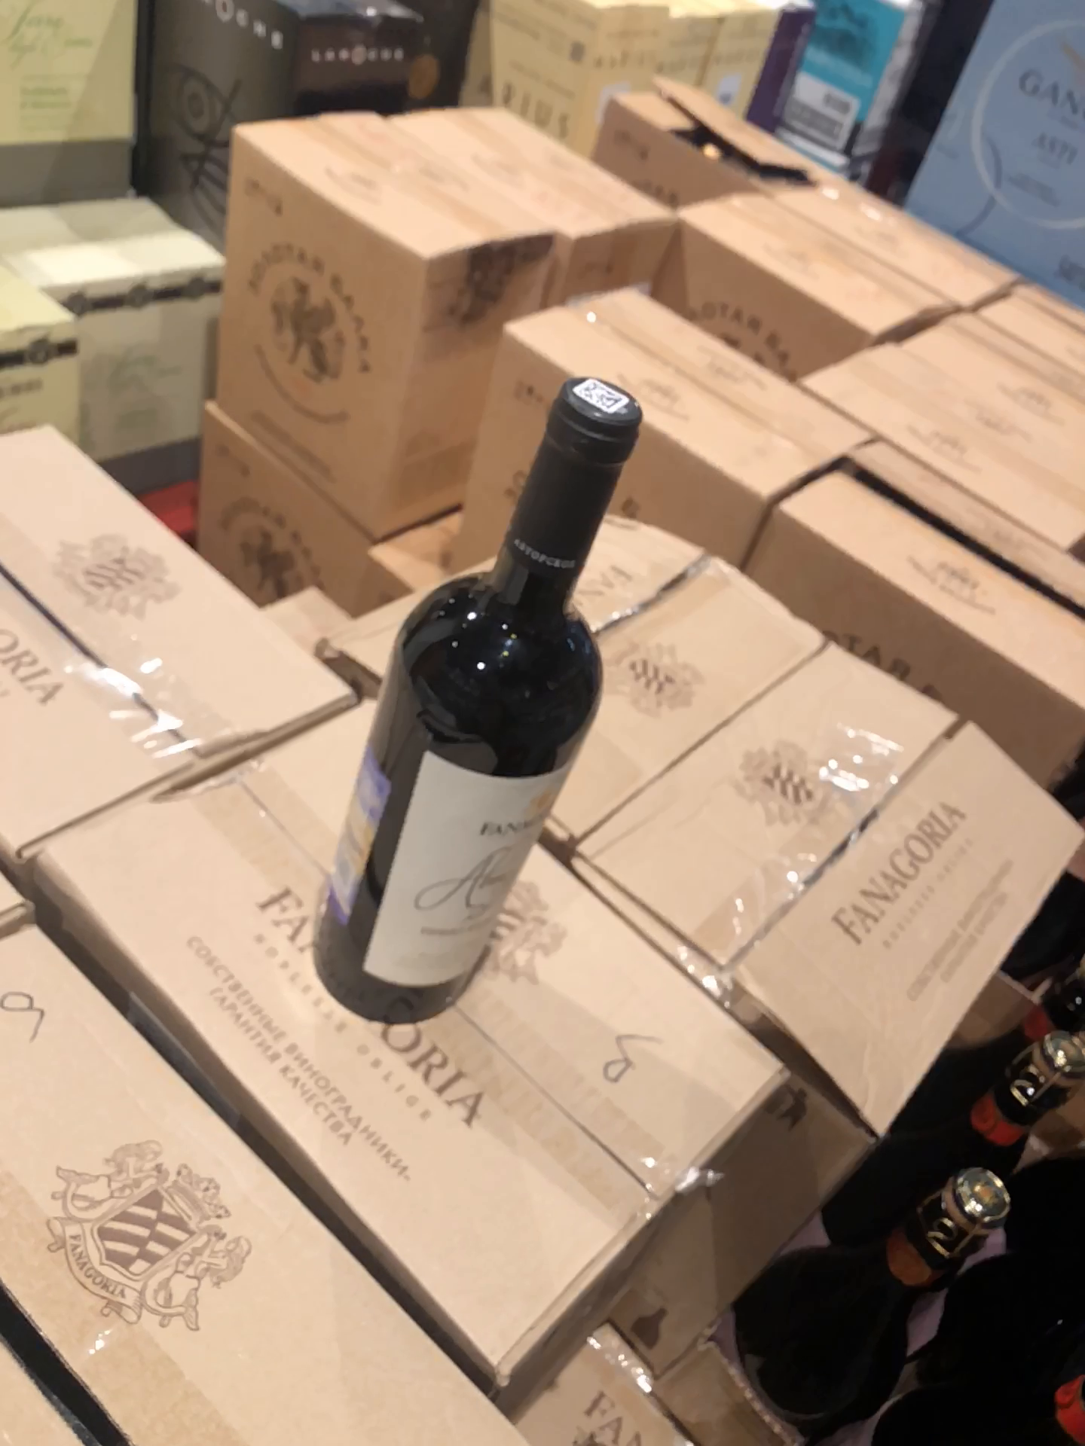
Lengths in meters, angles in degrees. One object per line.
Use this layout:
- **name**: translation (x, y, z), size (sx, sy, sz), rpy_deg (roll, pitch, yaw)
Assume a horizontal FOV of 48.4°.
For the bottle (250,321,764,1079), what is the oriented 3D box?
- **bottle**: translation (-0.033, 0.005, 0.494), size (0.100, 0.308, 0.090), rpy_deg (-24, 57, -40)
